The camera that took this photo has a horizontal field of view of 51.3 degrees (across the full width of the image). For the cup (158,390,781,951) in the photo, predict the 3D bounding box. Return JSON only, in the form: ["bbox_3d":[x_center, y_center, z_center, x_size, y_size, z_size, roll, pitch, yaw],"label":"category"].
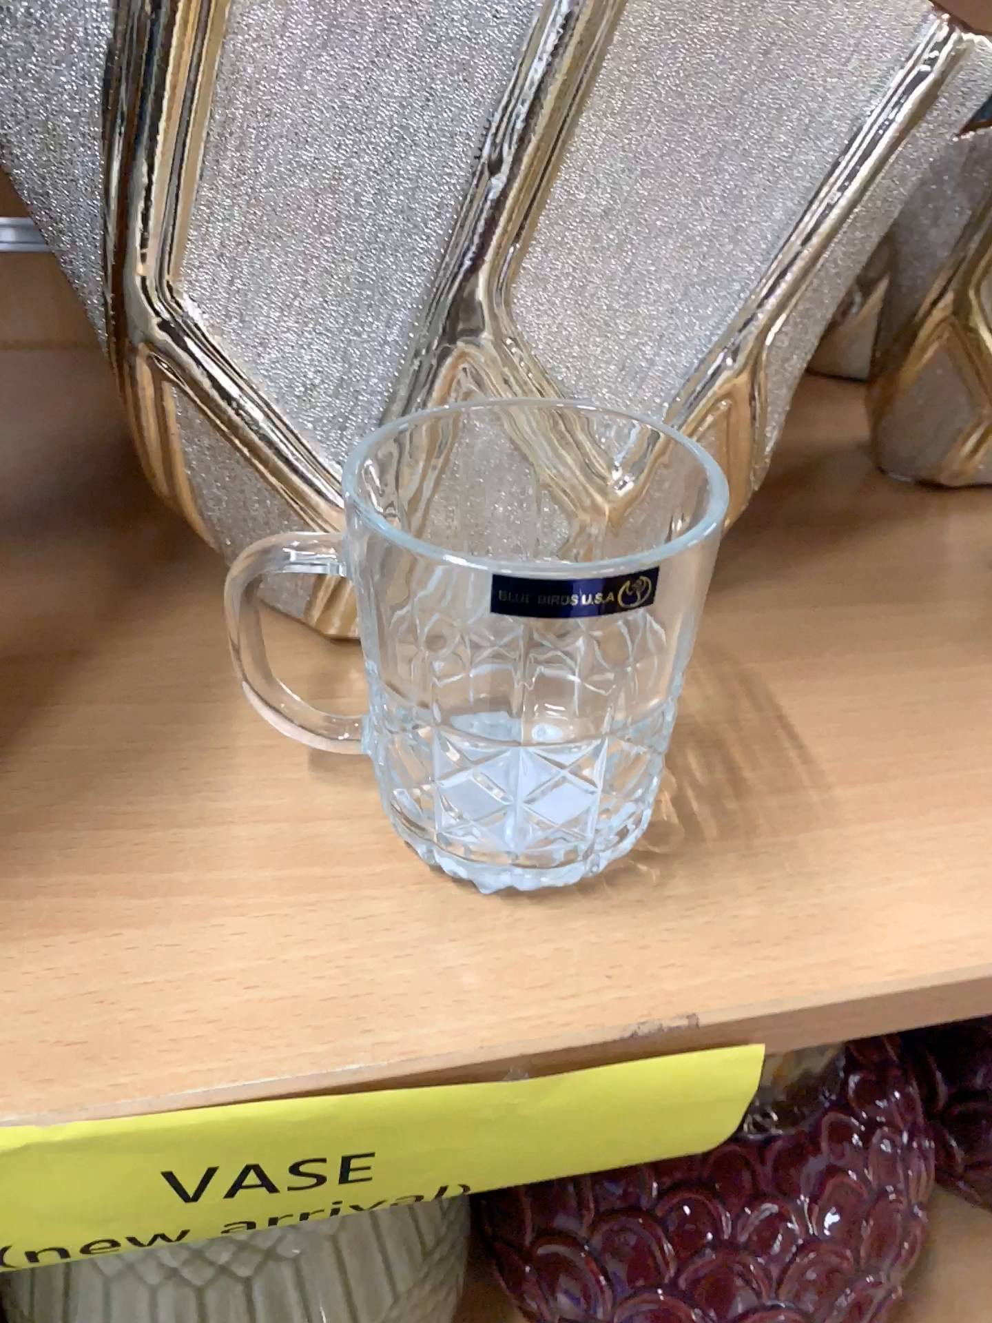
[{"bbox_3d":[-0.009,-0.001,0.219,0.100,0.090,0.070,-3,35,-8],"label":"cup"}]
